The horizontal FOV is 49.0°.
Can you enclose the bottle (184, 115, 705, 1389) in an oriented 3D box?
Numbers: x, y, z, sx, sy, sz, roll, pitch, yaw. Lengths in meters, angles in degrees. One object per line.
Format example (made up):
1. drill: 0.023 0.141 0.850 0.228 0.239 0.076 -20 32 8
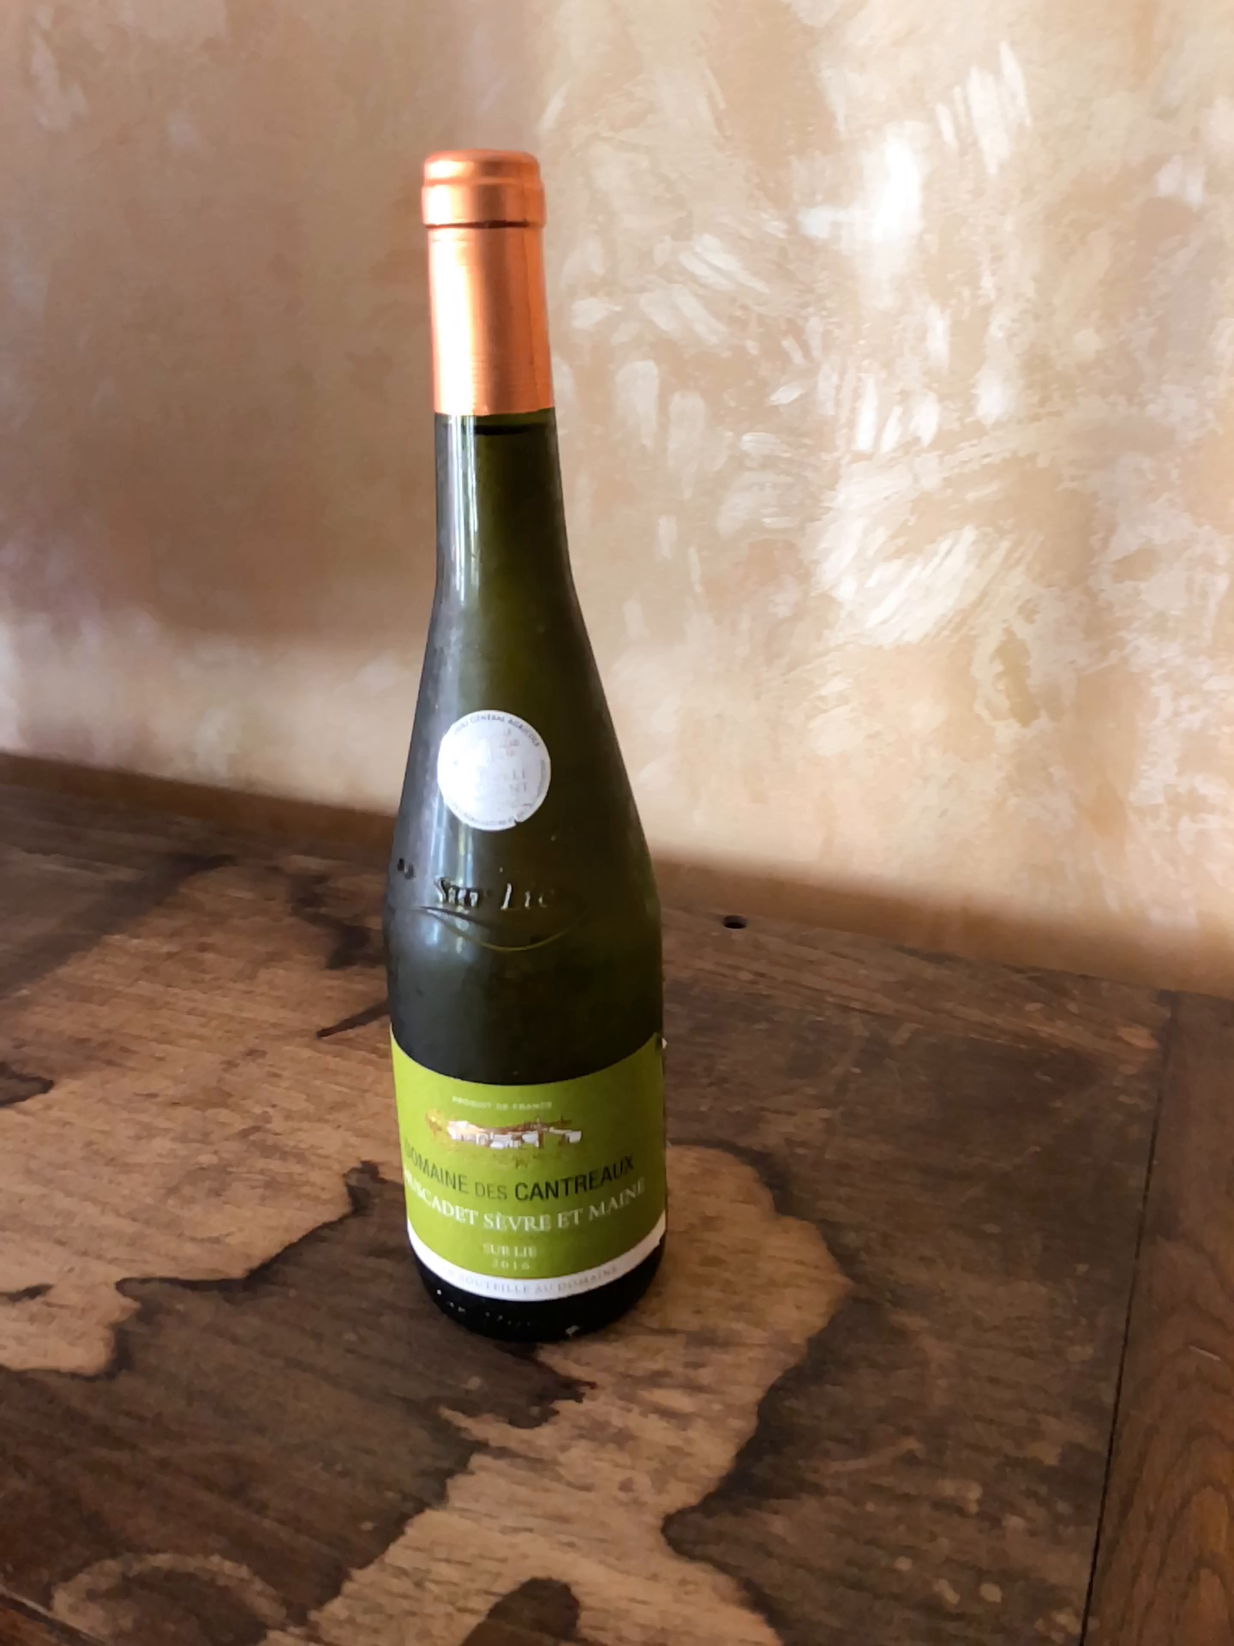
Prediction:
1. bottle: -0.034 -0.009 0.359 0.090 0.308 0.080 7 23 16
